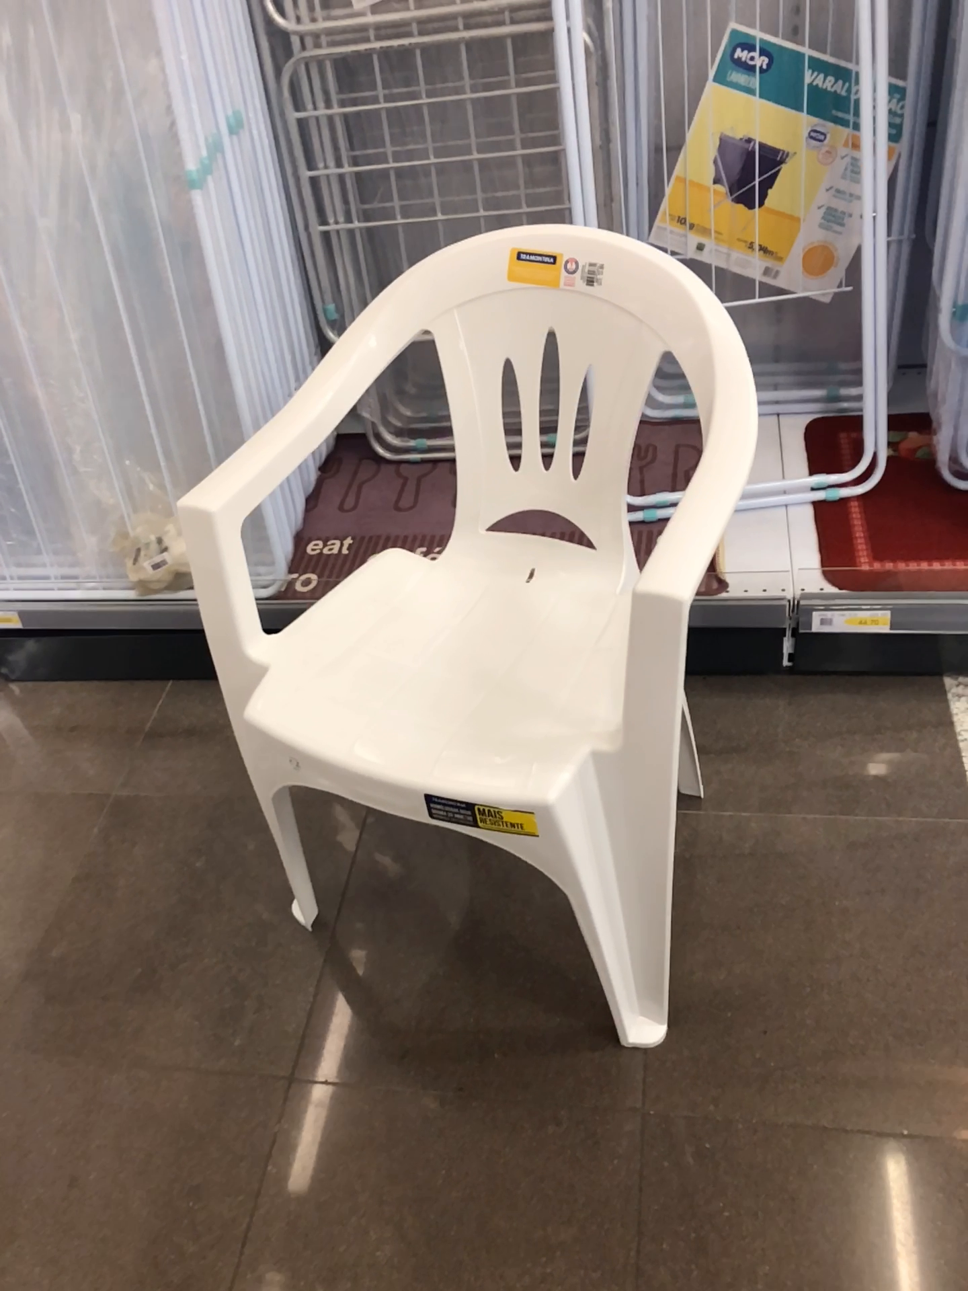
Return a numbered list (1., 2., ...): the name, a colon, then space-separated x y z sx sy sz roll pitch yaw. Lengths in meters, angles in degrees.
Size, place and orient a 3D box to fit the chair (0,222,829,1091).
1. chair: 0.020 -0.019 1.232 0.601 0.705 0.603 9 45 22
